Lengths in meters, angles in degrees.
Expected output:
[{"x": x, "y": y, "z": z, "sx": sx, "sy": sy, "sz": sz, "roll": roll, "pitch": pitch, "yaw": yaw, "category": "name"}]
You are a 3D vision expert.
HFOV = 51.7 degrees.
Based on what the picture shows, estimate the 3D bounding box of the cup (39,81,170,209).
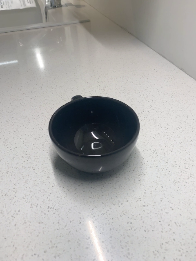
[{"x": -0.003, "y": 0.006, "z": 0.250, "sx": 0.110, "sy": 0.060, "sz": 0.130, "roll": -14, "pitch": 44, "yaw": -12, "category": "cup"}]
